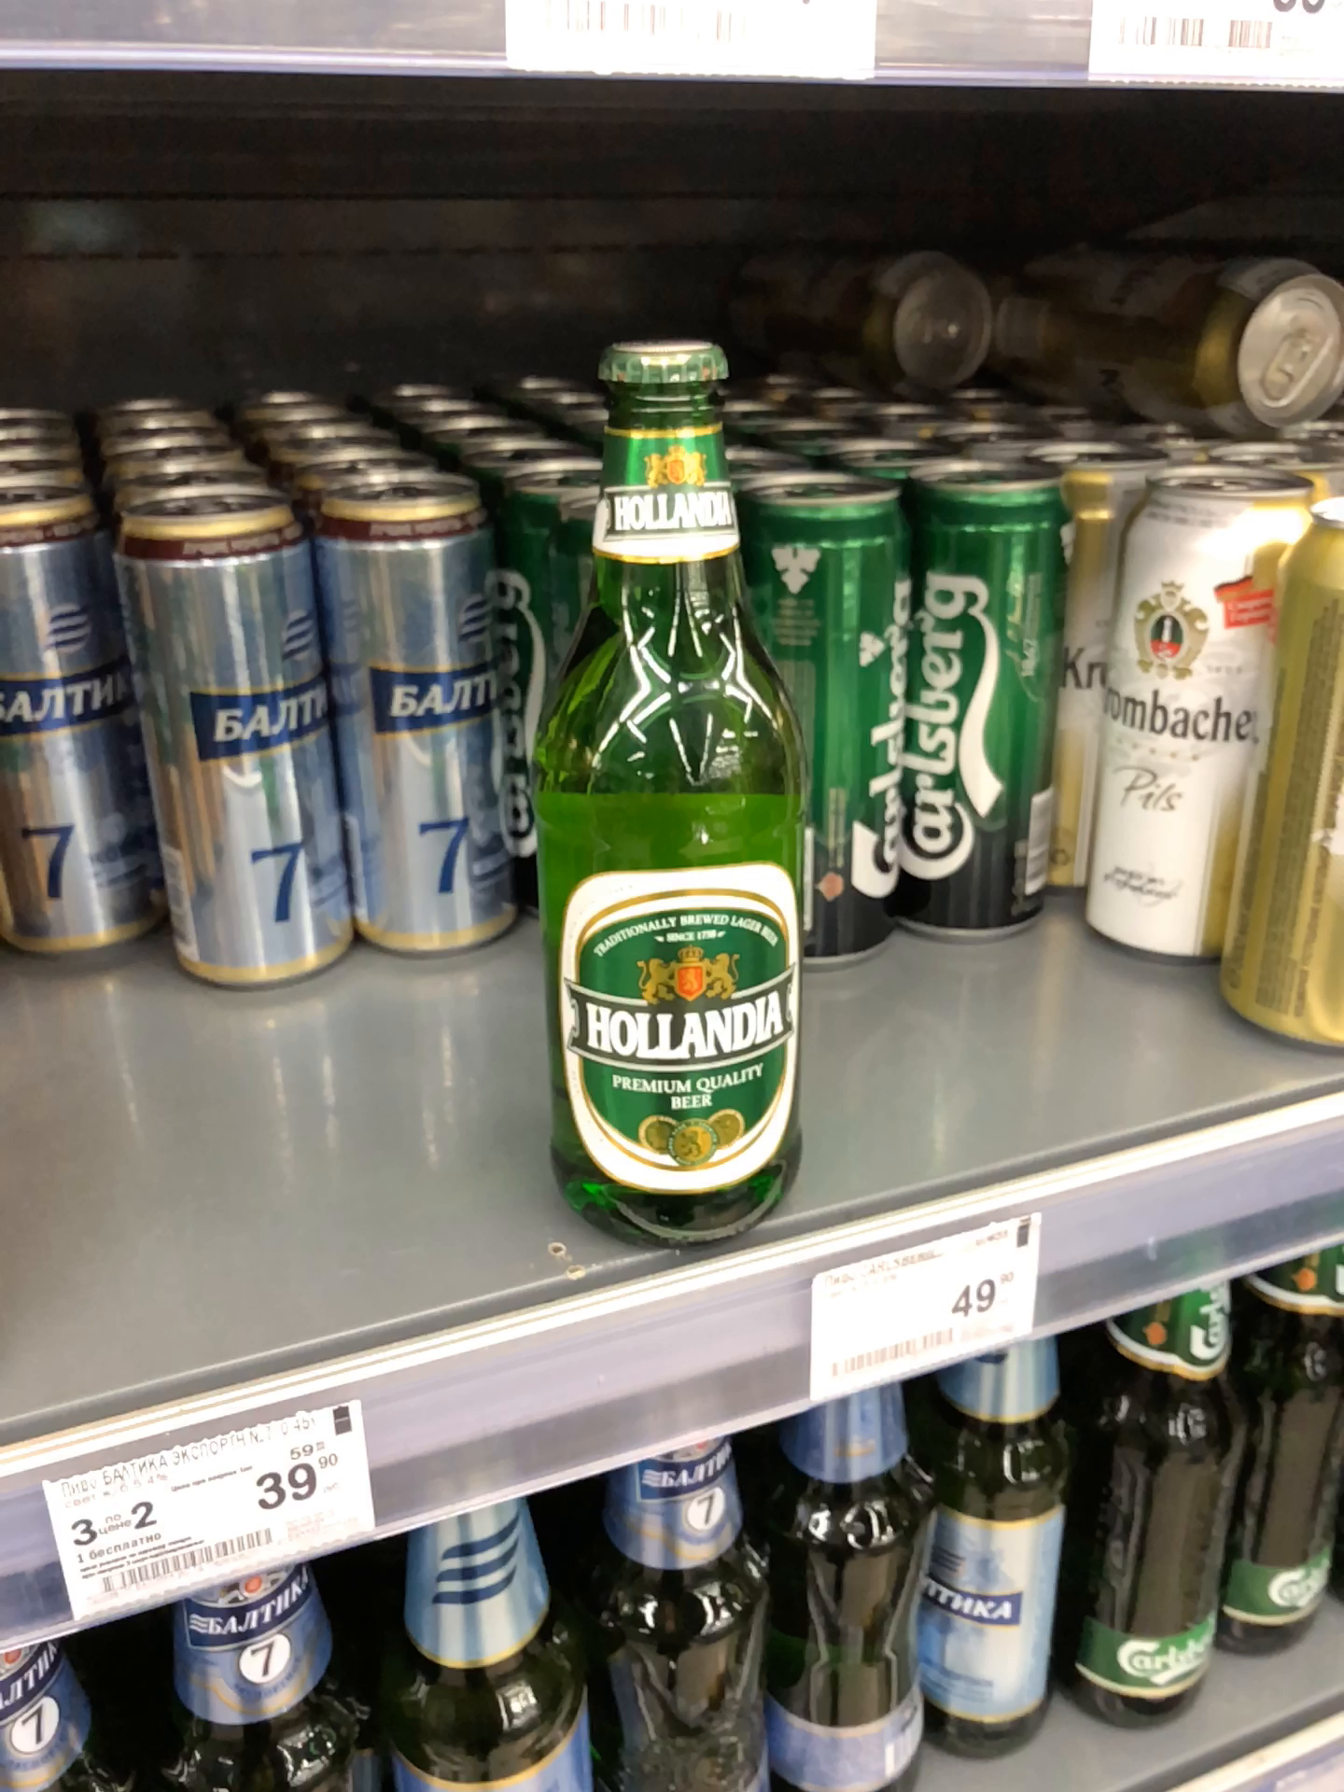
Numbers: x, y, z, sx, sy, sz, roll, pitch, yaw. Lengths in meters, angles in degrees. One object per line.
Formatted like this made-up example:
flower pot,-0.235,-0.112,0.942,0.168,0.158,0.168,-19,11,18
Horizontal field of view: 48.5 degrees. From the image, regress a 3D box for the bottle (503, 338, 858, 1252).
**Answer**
bottle,0.001,-0.021,0.365,0.070,0.211,0.063,-2,24,-3
